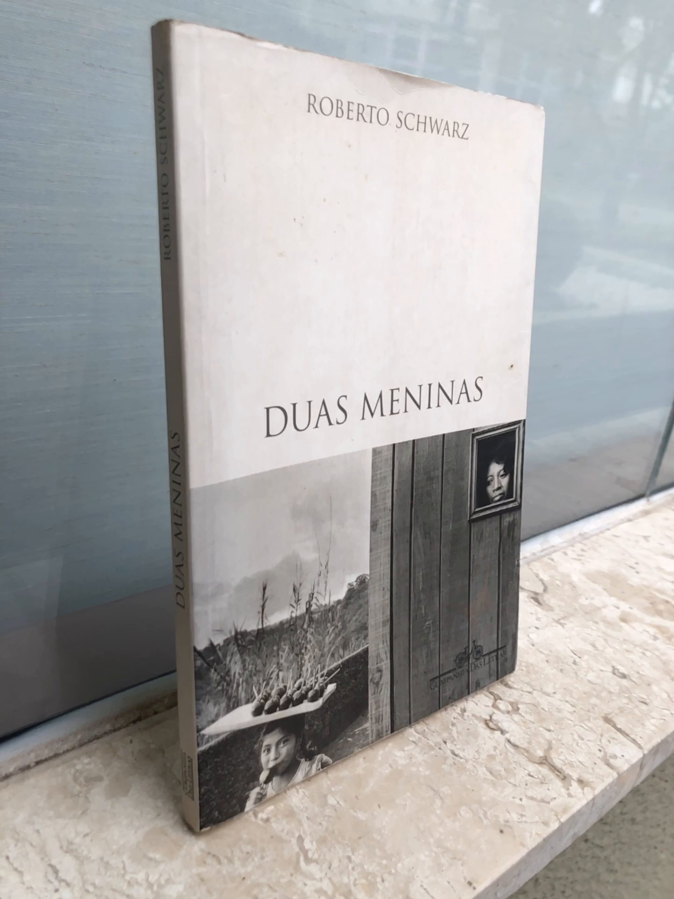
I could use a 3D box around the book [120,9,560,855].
[{"bbox_3d":[0.011,-0.003,0.226,0.139,0.205,0.016,-11,17,-38],"label":"book"}]
